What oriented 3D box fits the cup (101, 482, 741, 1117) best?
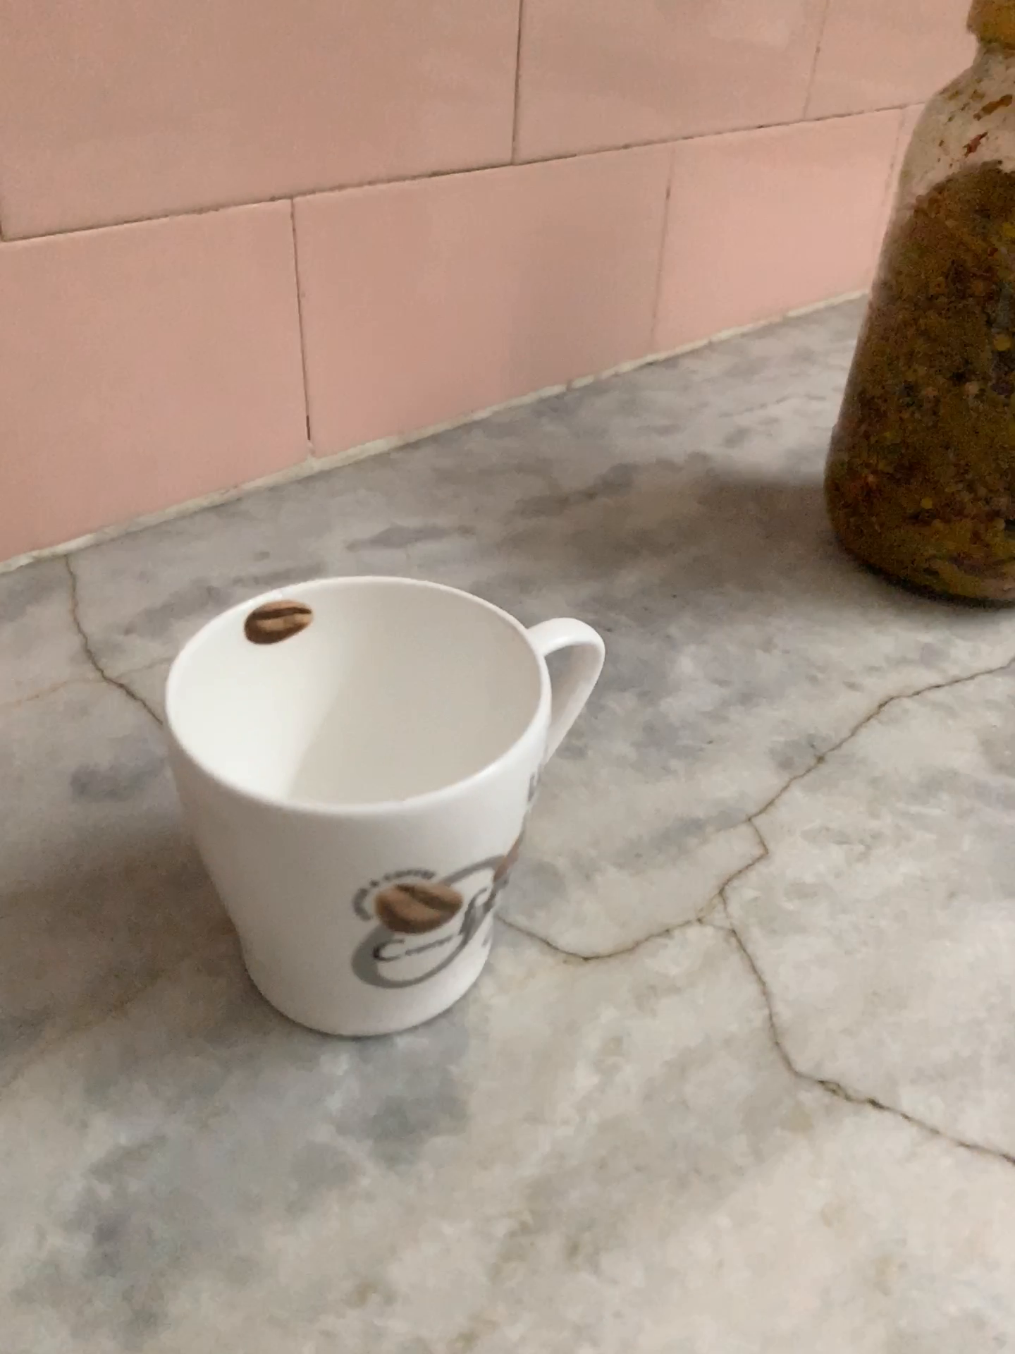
[{"bbox_3d":[-0.015,0.017,0.221,0.100,0.070,0.070,-29,47,-35],"label":"cup"}]
